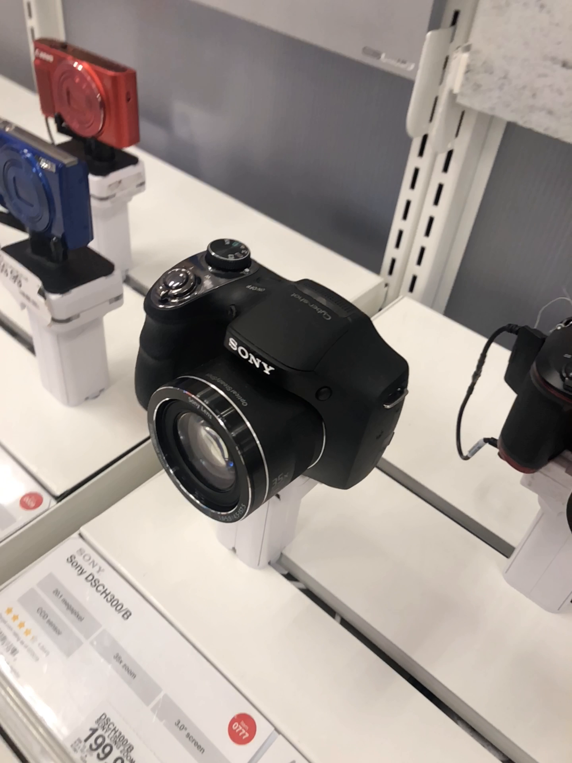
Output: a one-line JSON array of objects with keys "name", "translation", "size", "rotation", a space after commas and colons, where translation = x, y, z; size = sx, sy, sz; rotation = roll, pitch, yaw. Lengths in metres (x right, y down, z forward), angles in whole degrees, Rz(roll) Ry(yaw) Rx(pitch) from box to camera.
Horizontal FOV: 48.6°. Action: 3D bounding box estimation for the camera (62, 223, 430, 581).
[{"name": "camera", "translation": [-0.019, 0.002, 0.278], "size": [0.119, 0.076, 0.087], "rotation": [33, 48, 24]}]
